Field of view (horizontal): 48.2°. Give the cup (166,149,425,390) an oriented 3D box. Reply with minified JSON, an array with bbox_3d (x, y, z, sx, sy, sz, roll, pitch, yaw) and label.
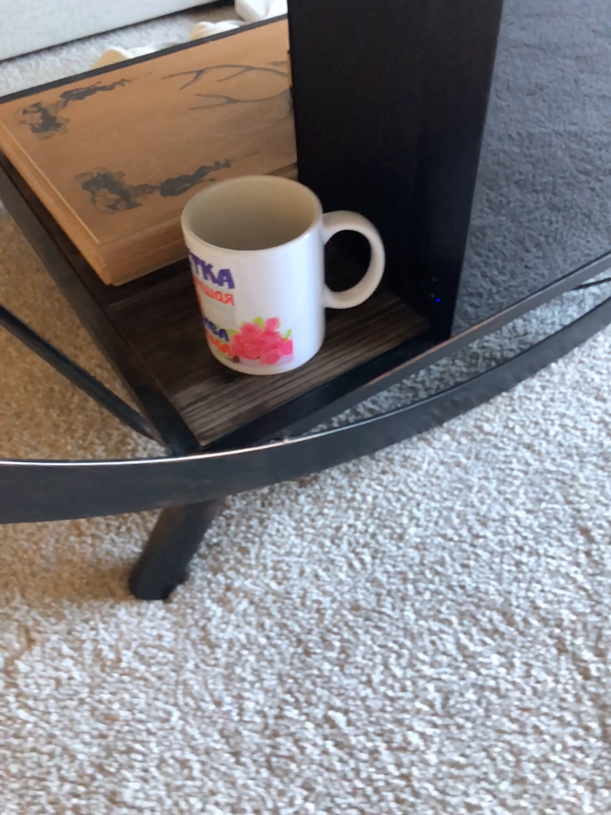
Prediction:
[{"bbox_3d":[-0.008,-0.089,0.442,0.140,0.100,0.090,-9,49,-5],"label":"cup"}]
